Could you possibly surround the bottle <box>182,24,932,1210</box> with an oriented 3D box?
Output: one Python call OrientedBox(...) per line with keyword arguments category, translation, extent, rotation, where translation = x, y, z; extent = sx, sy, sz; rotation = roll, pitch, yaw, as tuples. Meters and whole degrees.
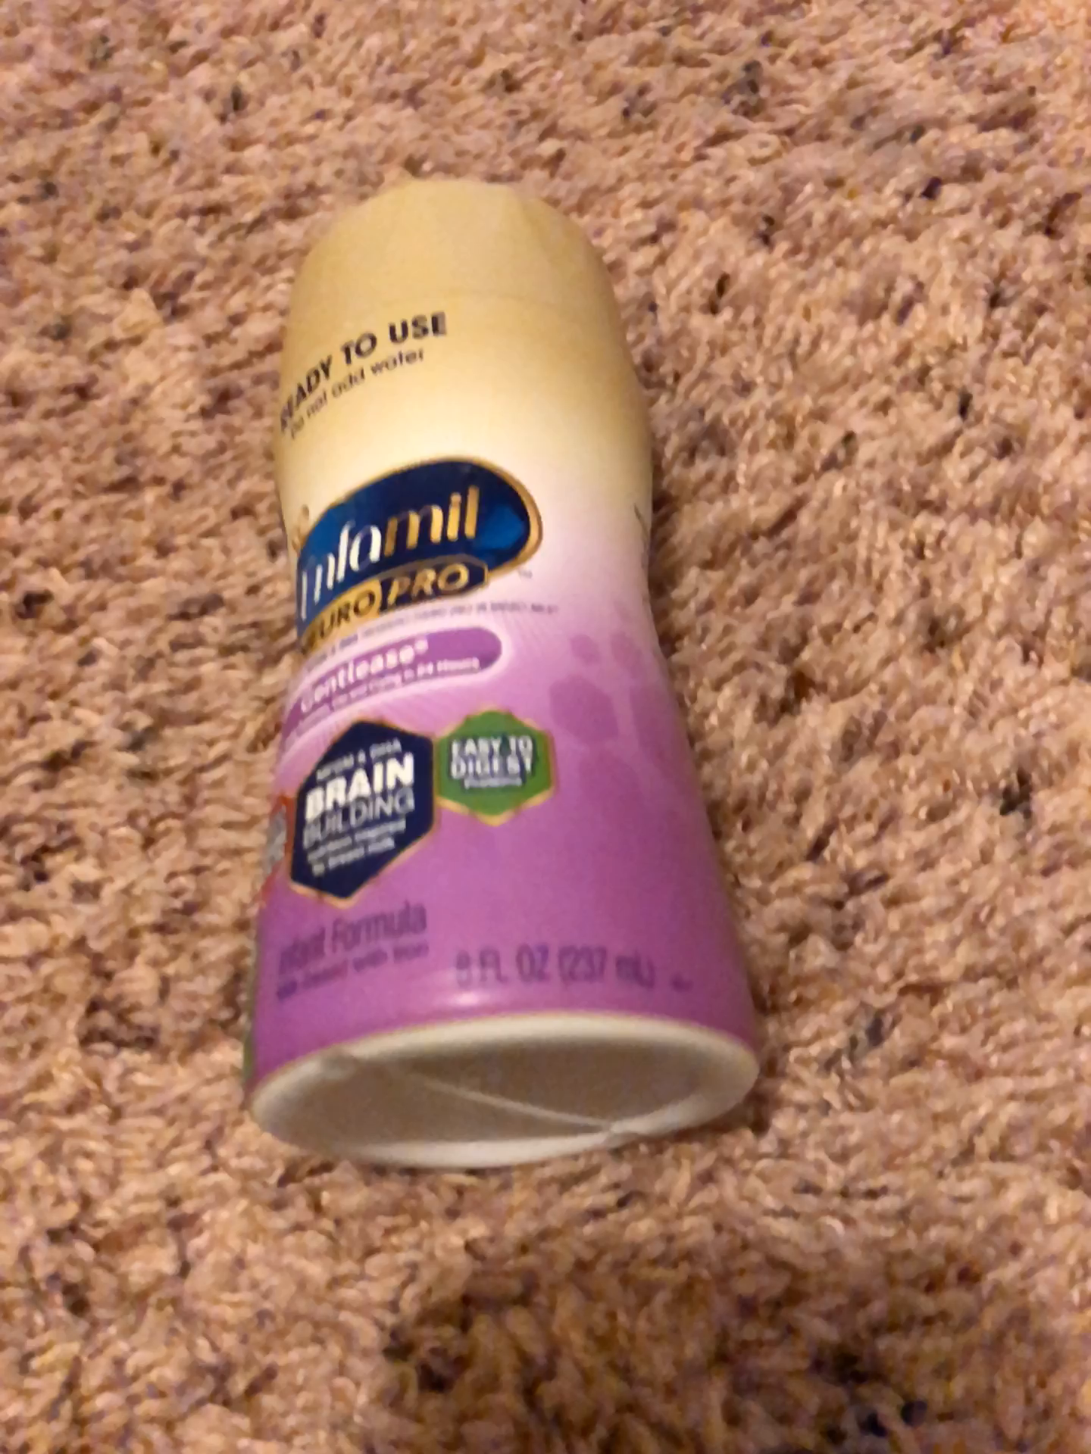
OrientedBox(category="bottle", translation=(-0.005, -0.017, 0.177), extent=(0.060, 0.060, 0.150), rotation=(-33, 50, 37))
